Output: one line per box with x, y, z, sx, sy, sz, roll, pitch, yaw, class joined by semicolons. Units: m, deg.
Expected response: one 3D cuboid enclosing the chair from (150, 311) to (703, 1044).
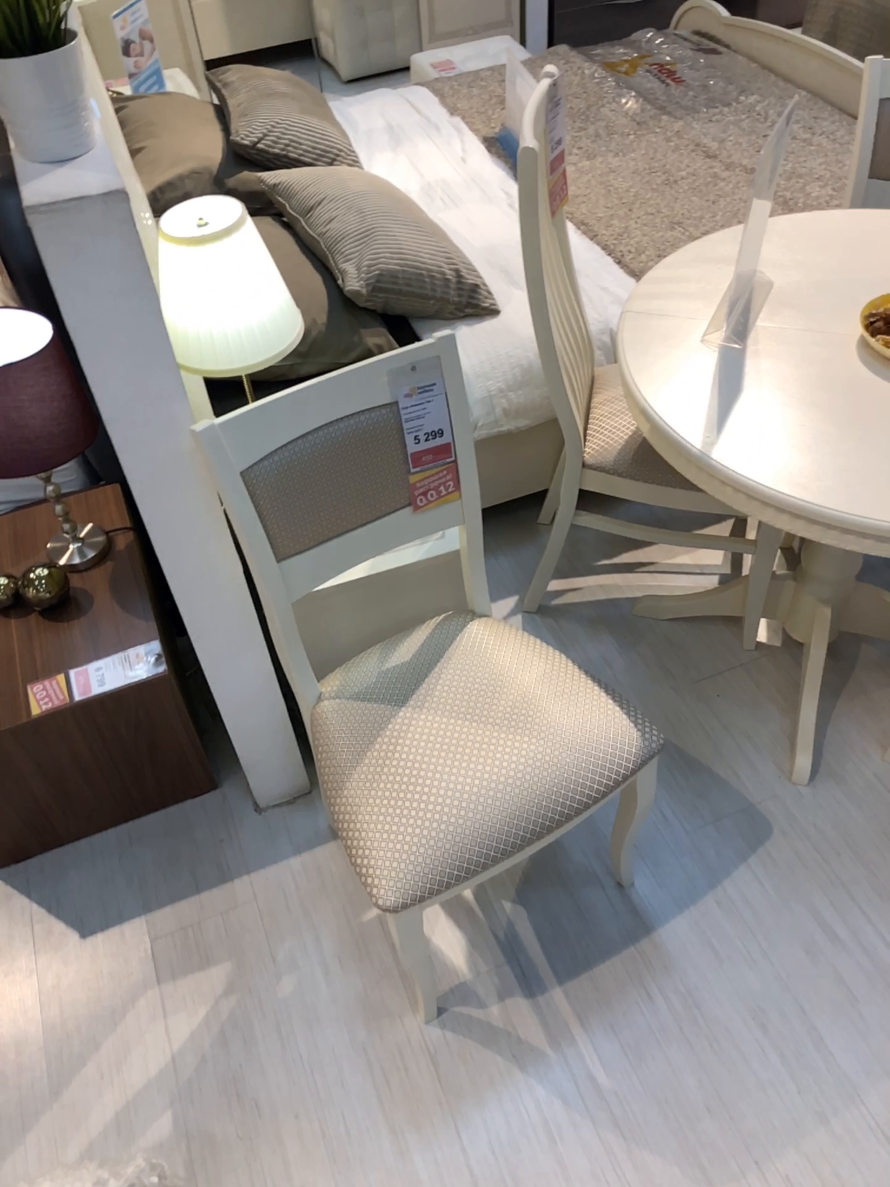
-0.009;0.172;1.483;0.471;0.946;0.473;-27;50;-20;chair
